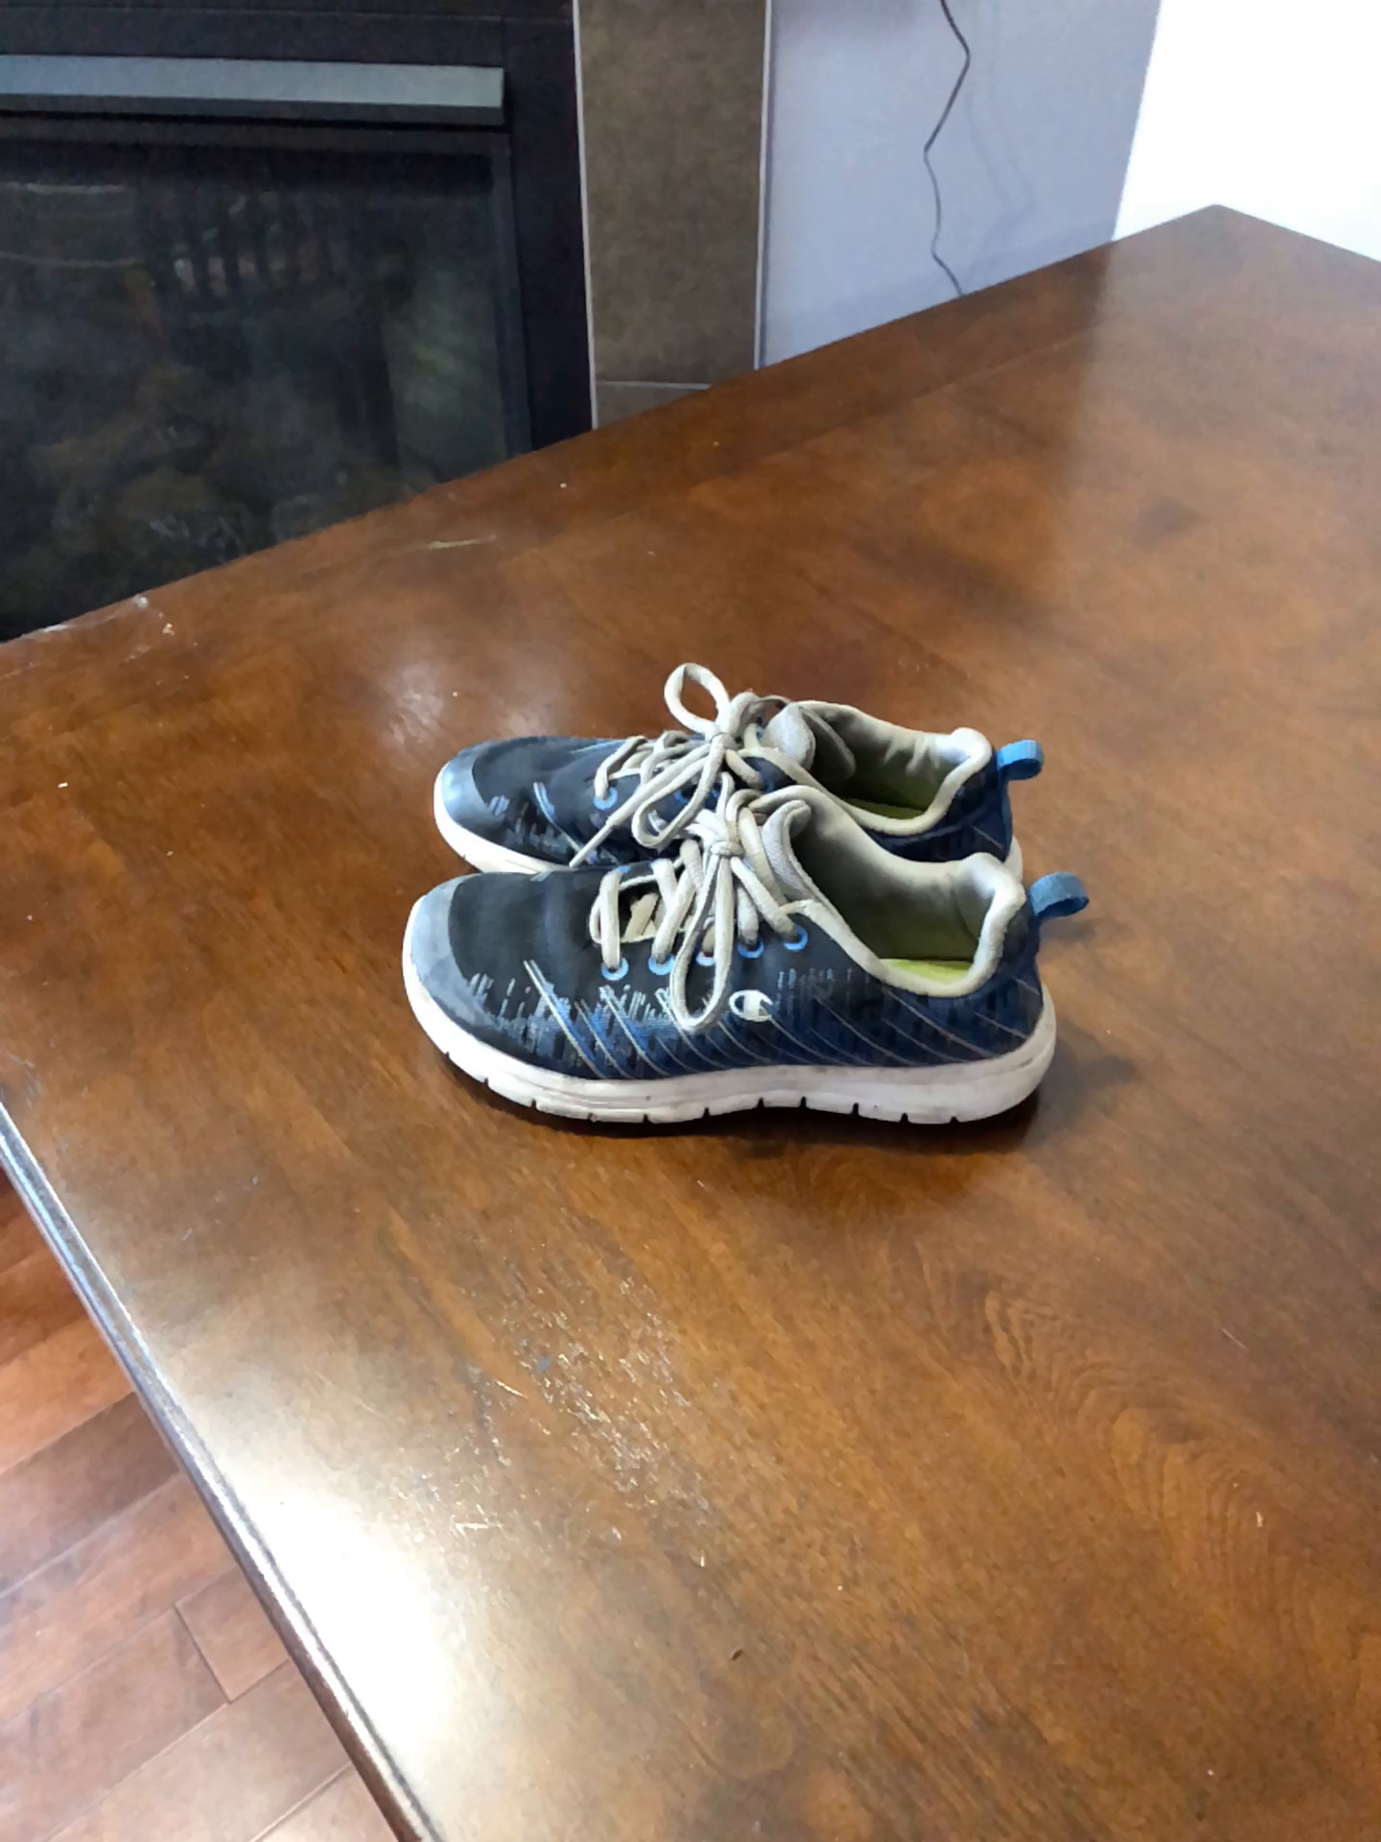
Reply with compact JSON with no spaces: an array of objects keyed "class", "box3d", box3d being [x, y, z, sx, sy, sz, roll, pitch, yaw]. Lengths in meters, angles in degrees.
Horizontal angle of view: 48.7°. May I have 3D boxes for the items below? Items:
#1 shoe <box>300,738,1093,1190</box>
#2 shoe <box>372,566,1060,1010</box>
[{"class":"shoe","box3d":[0.004,0.013,0.508,0.230,0.090,0.100,4,44,4]},{"class":"shoe","box3d":[0.013,-0.051,0.552,0.220,0.090,0.100,8,45,8]}]
